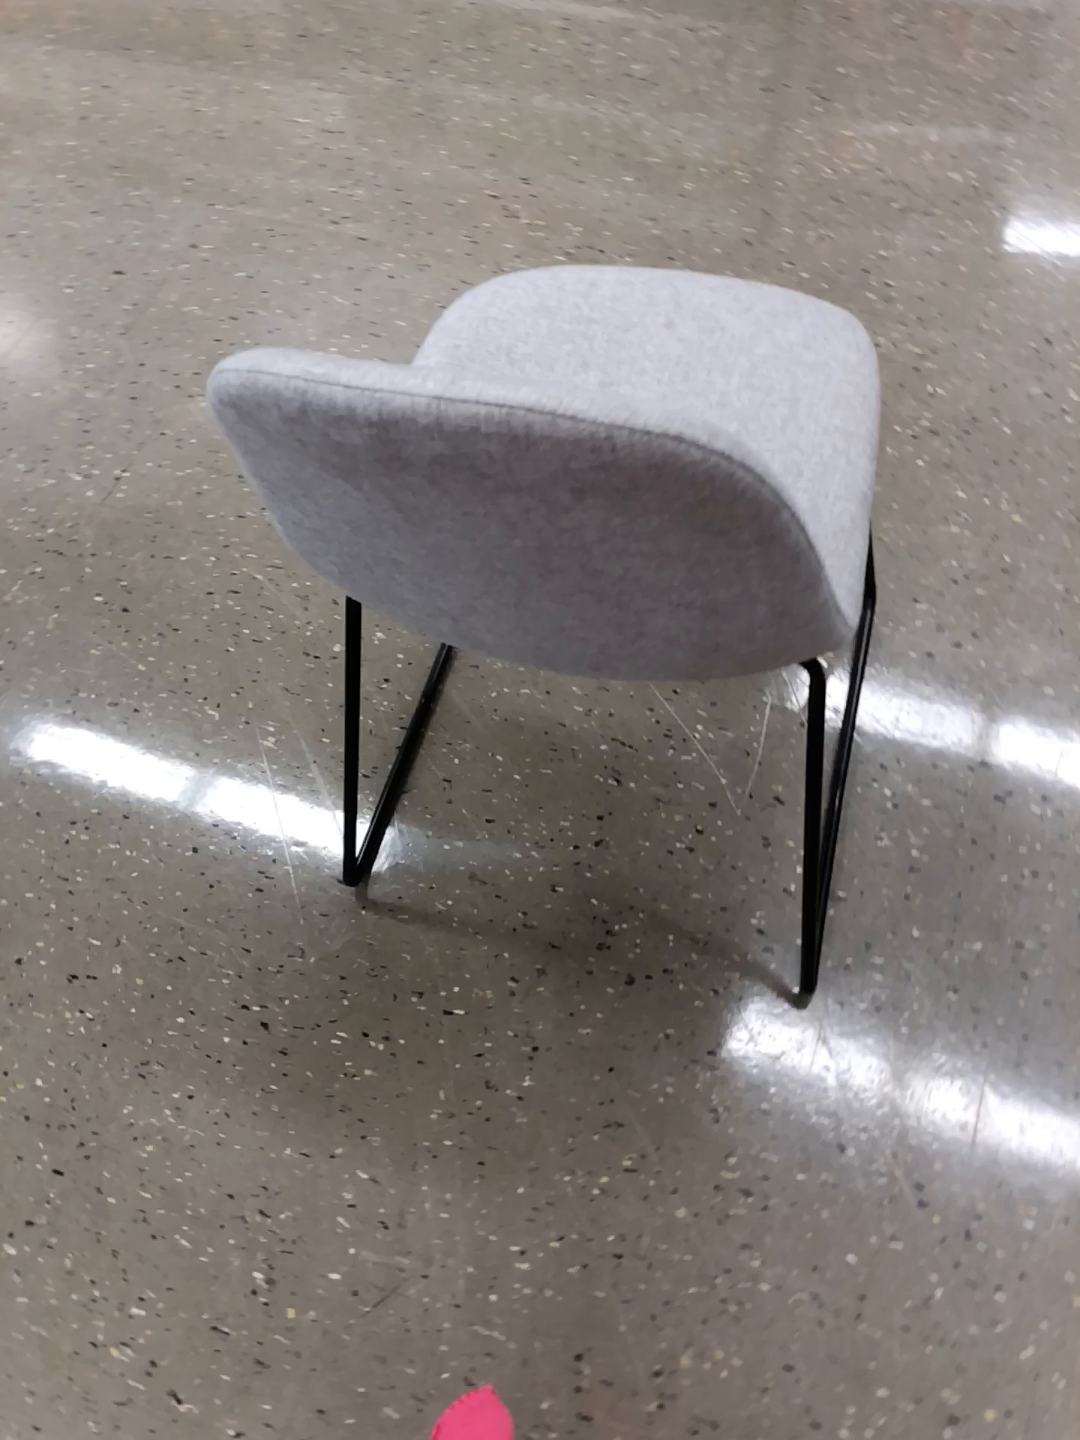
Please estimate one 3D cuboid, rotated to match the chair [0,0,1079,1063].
[{"bbox_3d":[0.092,-0.170,0.991,0.590,0.779,0.581,12,63,13],"label":"chair"}]
